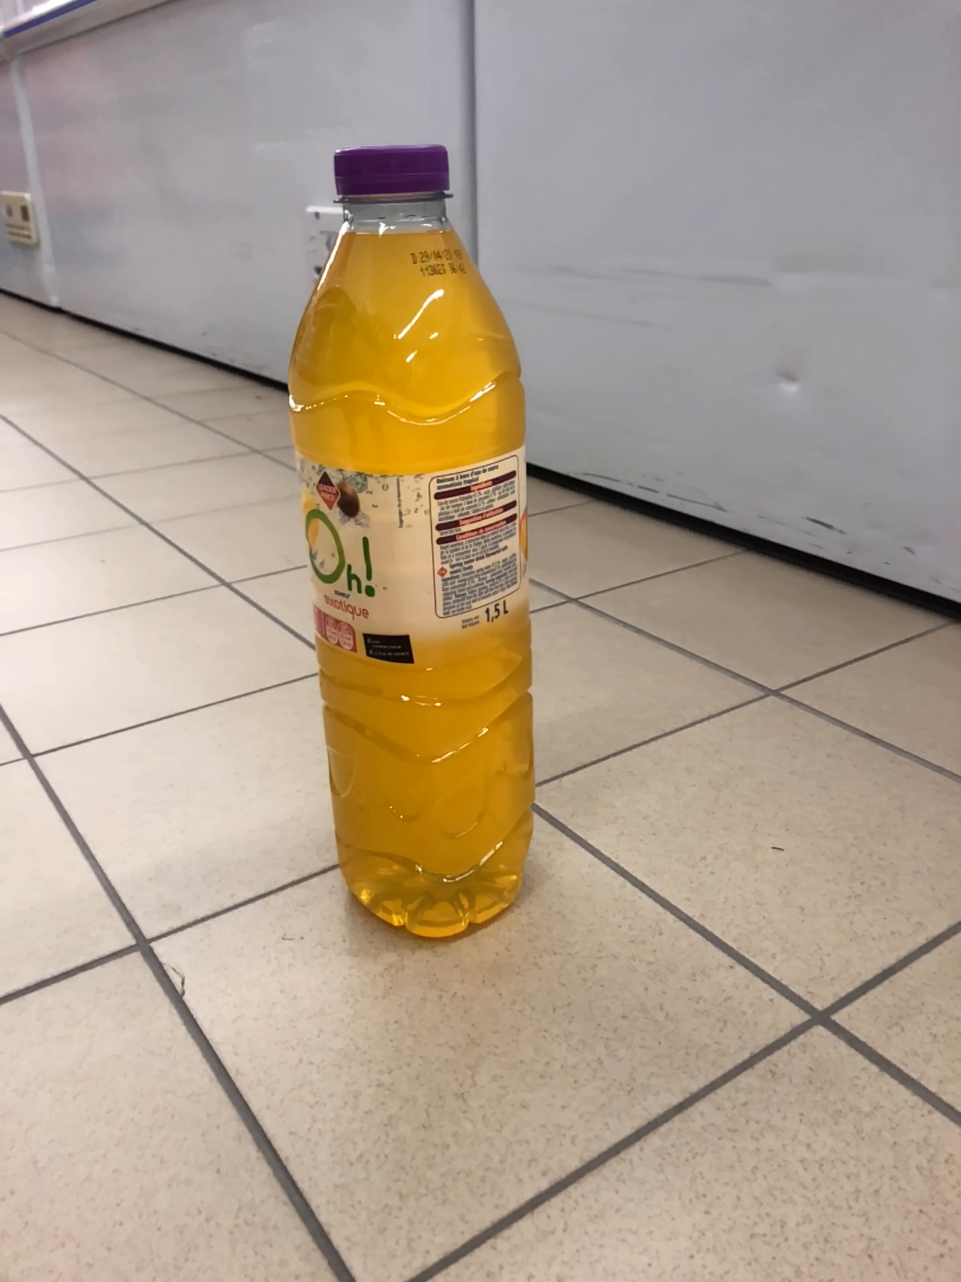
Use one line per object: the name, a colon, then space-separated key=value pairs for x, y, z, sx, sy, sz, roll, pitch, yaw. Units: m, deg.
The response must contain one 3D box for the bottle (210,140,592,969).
bottle: x=-0.027 y=-0.034 z=0.426 sx=0.090 sy=0.298 sz=0.100 roll=-21 pitch=30 yaw=-39
